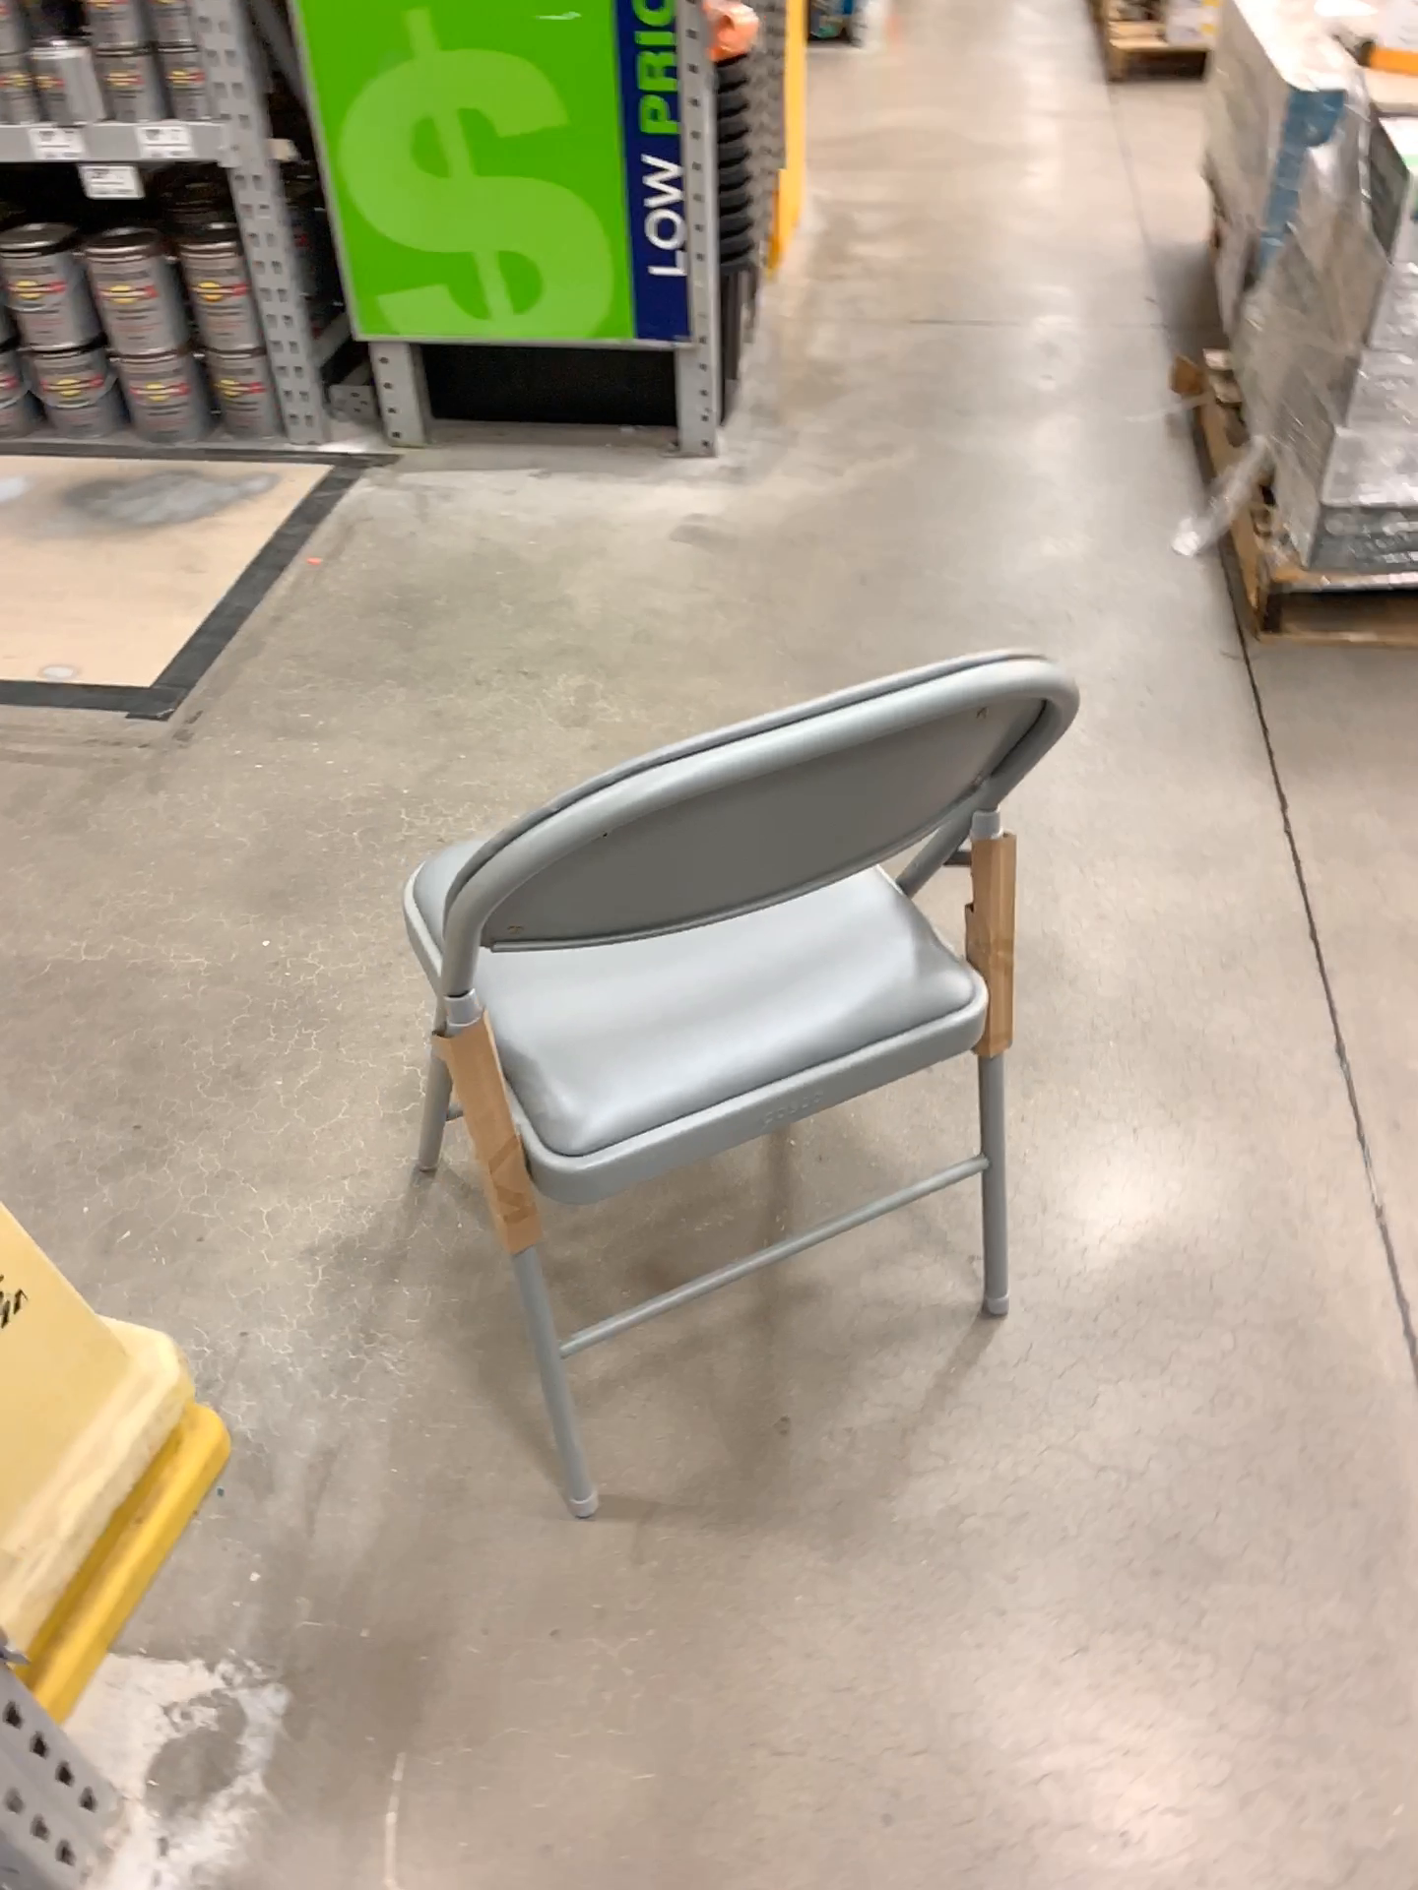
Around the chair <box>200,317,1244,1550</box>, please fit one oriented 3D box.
[{"bbox_3d":[-0.011,-0.013,1.138,0.487,0.708,0.486,-20,44,-18],"label":"chair"}]
